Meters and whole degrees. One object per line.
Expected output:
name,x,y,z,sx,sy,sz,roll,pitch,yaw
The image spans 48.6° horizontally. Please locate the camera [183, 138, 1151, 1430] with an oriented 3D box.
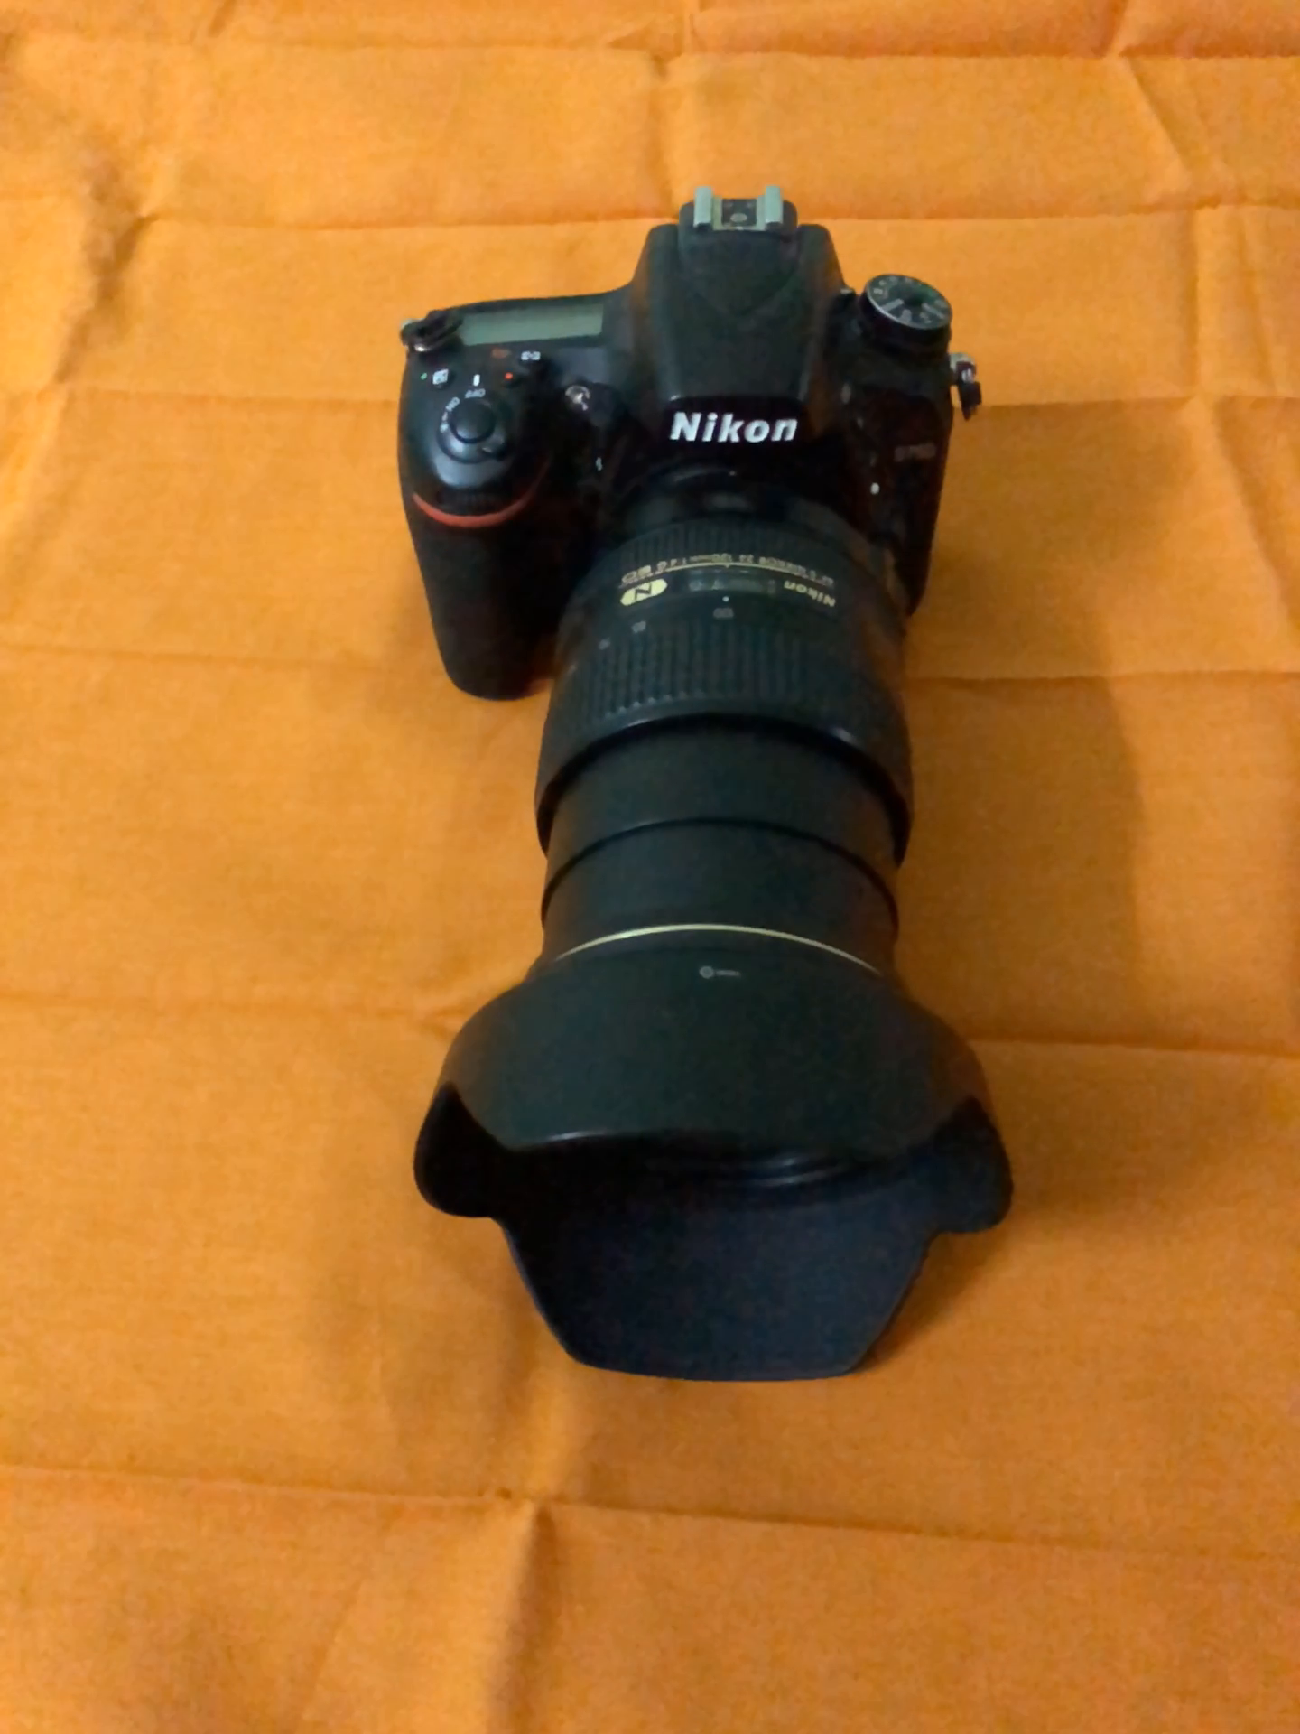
camera,0.007,-0.030,0.318,0.130,0.120,0.265,0,55,3
